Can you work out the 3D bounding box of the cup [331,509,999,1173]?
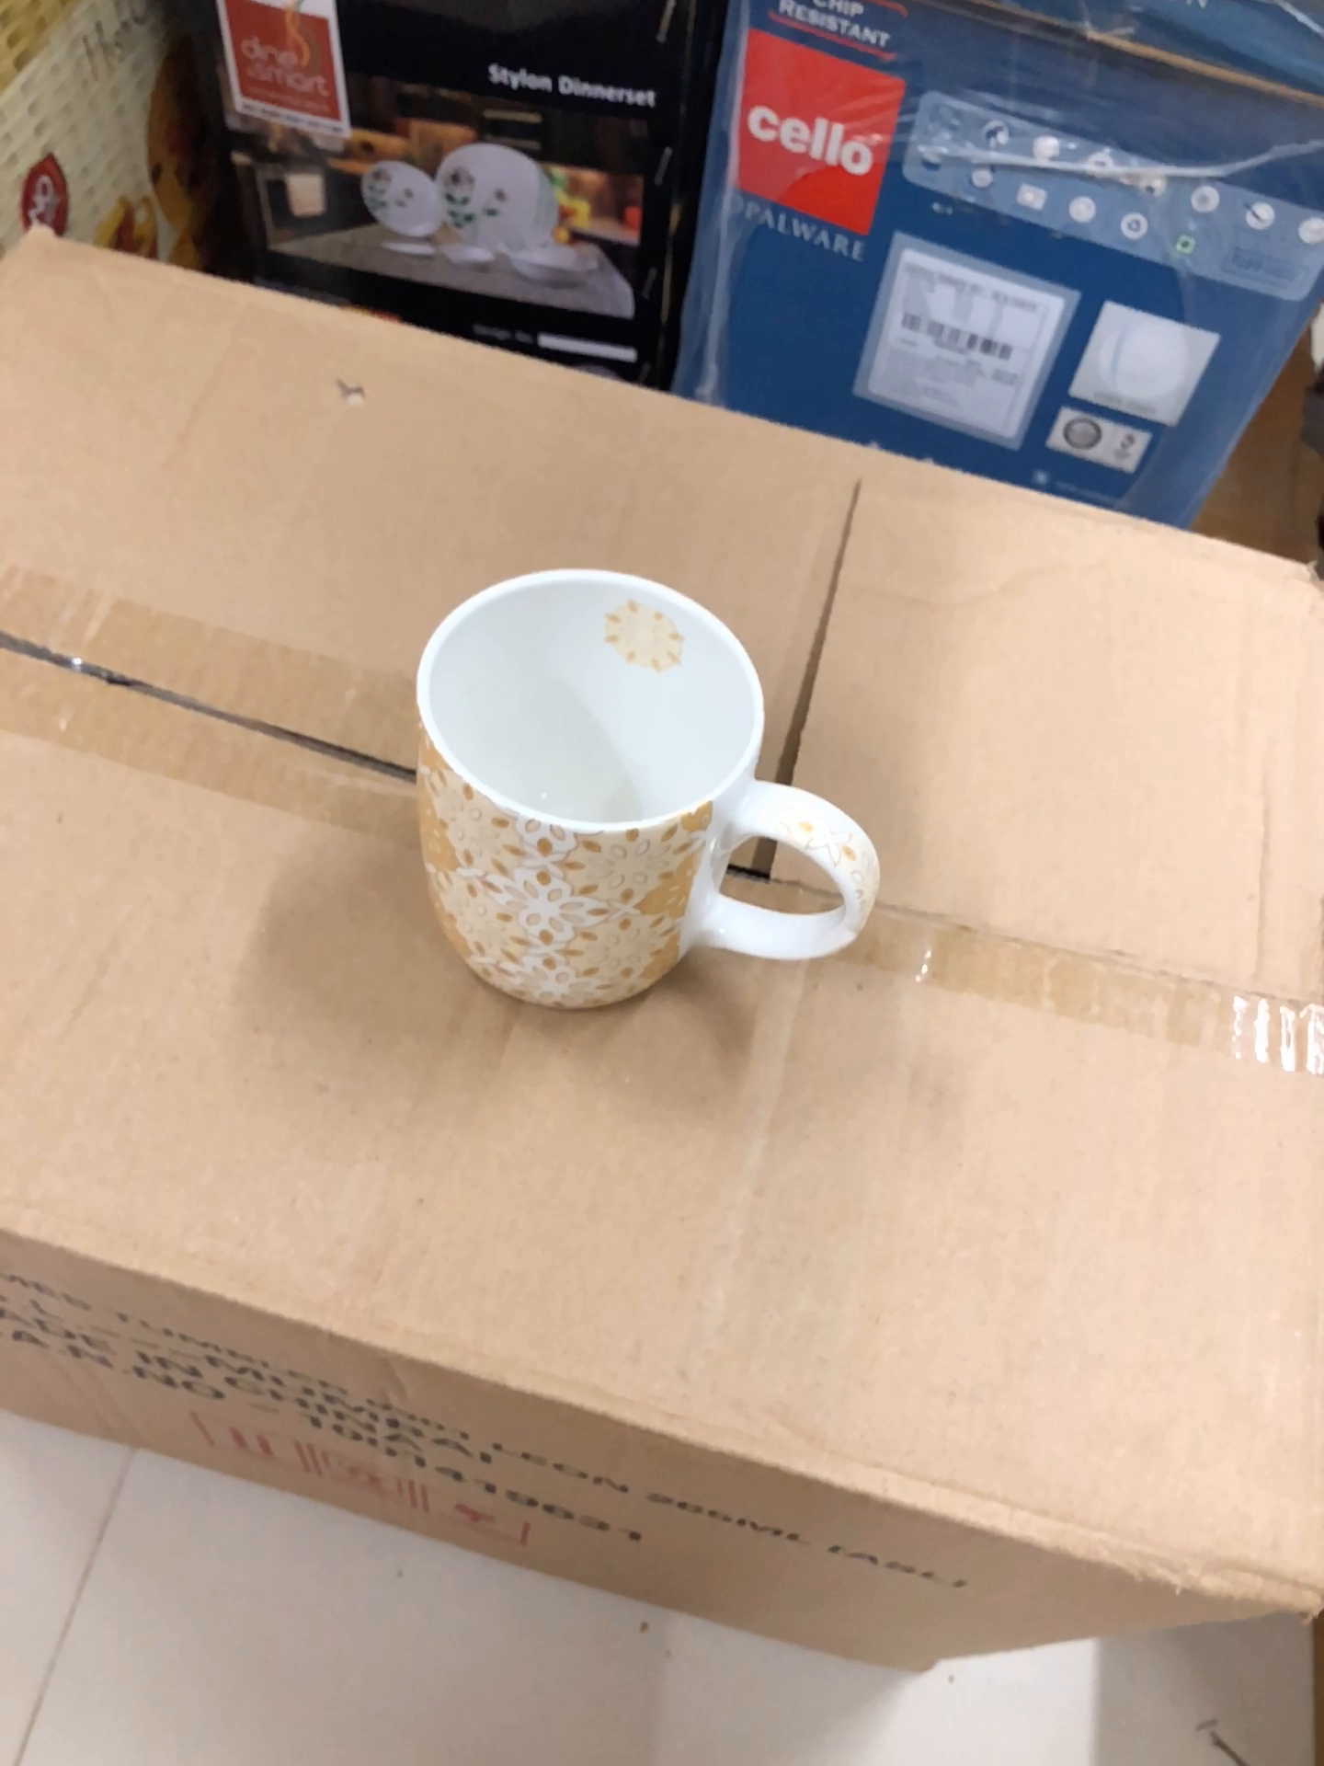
[{"bbox_3d":[-0.002,-0.008,0.347,0.120,0.090,0.080,24,56,7],"label":"cup"}]
